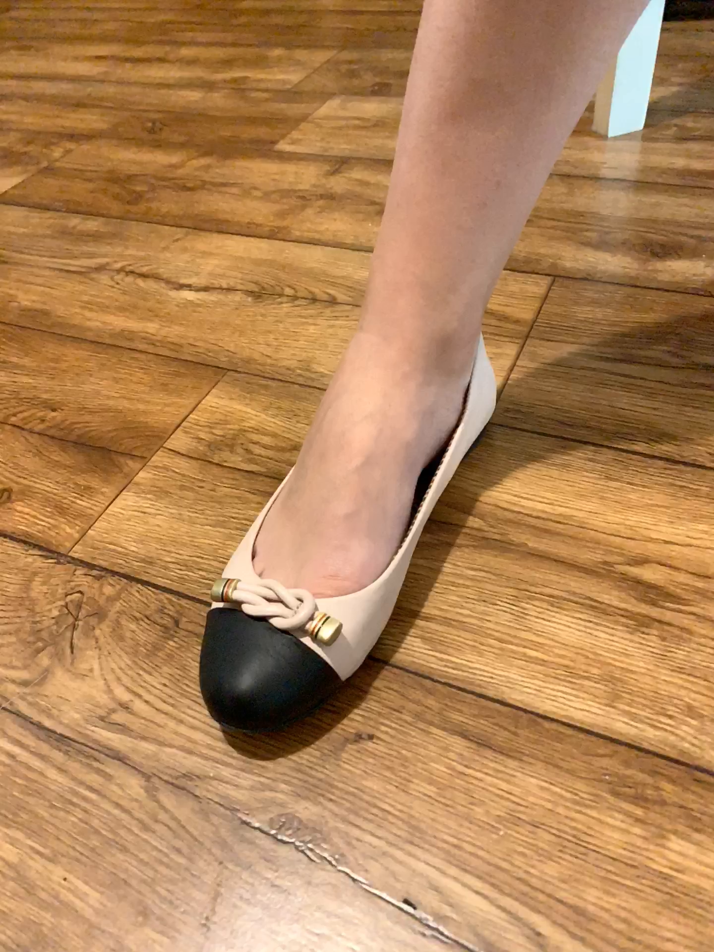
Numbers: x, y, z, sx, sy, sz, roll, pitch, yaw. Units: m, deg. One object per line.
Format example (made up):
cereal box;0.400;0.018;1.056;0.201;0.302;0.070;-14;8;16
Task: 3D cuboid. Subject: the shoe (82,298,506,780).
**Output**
shoe;-0.009;0.008;0.334;0.083;0.059;0.221;16;49;22
